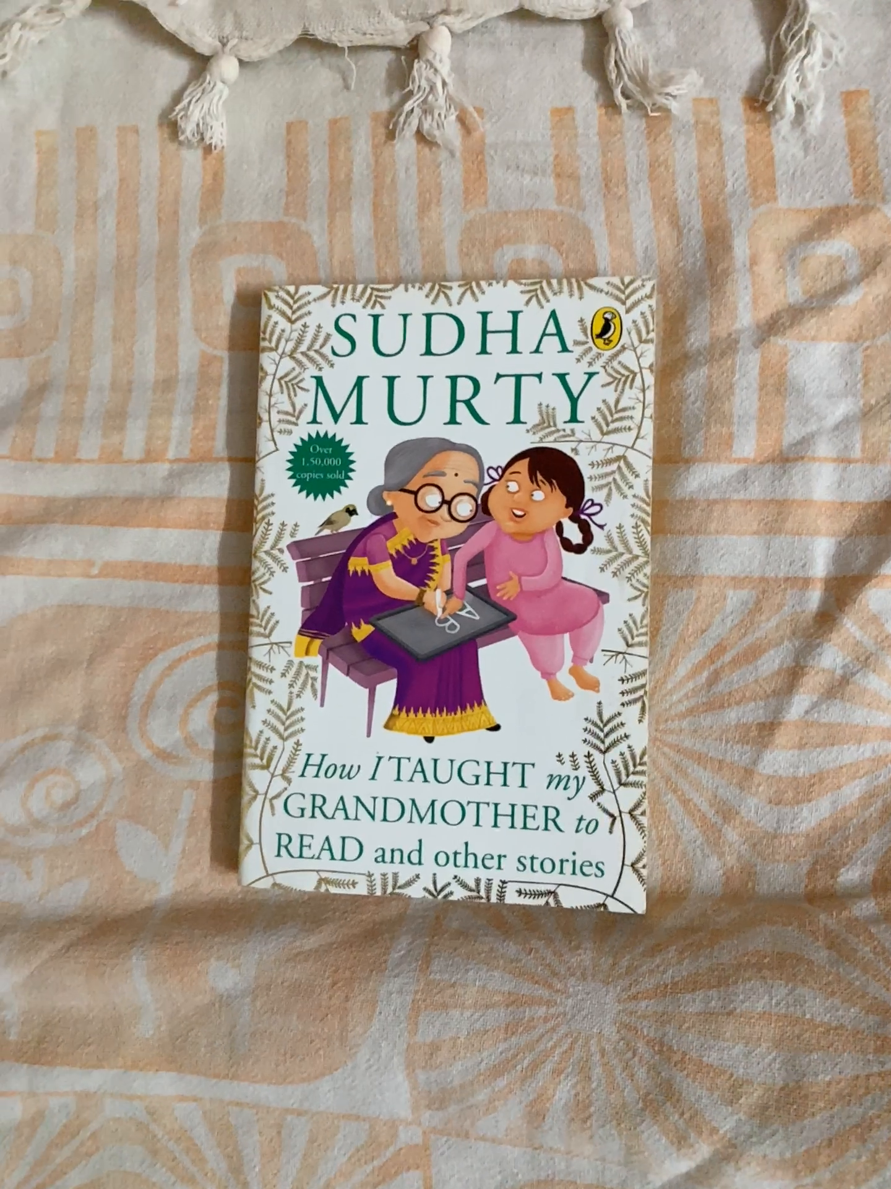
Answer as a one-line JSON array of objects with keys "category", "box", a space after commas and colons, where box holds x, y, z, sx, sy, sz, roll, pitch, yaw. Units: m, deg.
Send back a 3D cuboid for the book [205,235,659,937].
[{"category": "book", "box": [-0.003, -0.006, 0.282, 0.130, 0.020, 0.200, 0, 84, 9]}]
